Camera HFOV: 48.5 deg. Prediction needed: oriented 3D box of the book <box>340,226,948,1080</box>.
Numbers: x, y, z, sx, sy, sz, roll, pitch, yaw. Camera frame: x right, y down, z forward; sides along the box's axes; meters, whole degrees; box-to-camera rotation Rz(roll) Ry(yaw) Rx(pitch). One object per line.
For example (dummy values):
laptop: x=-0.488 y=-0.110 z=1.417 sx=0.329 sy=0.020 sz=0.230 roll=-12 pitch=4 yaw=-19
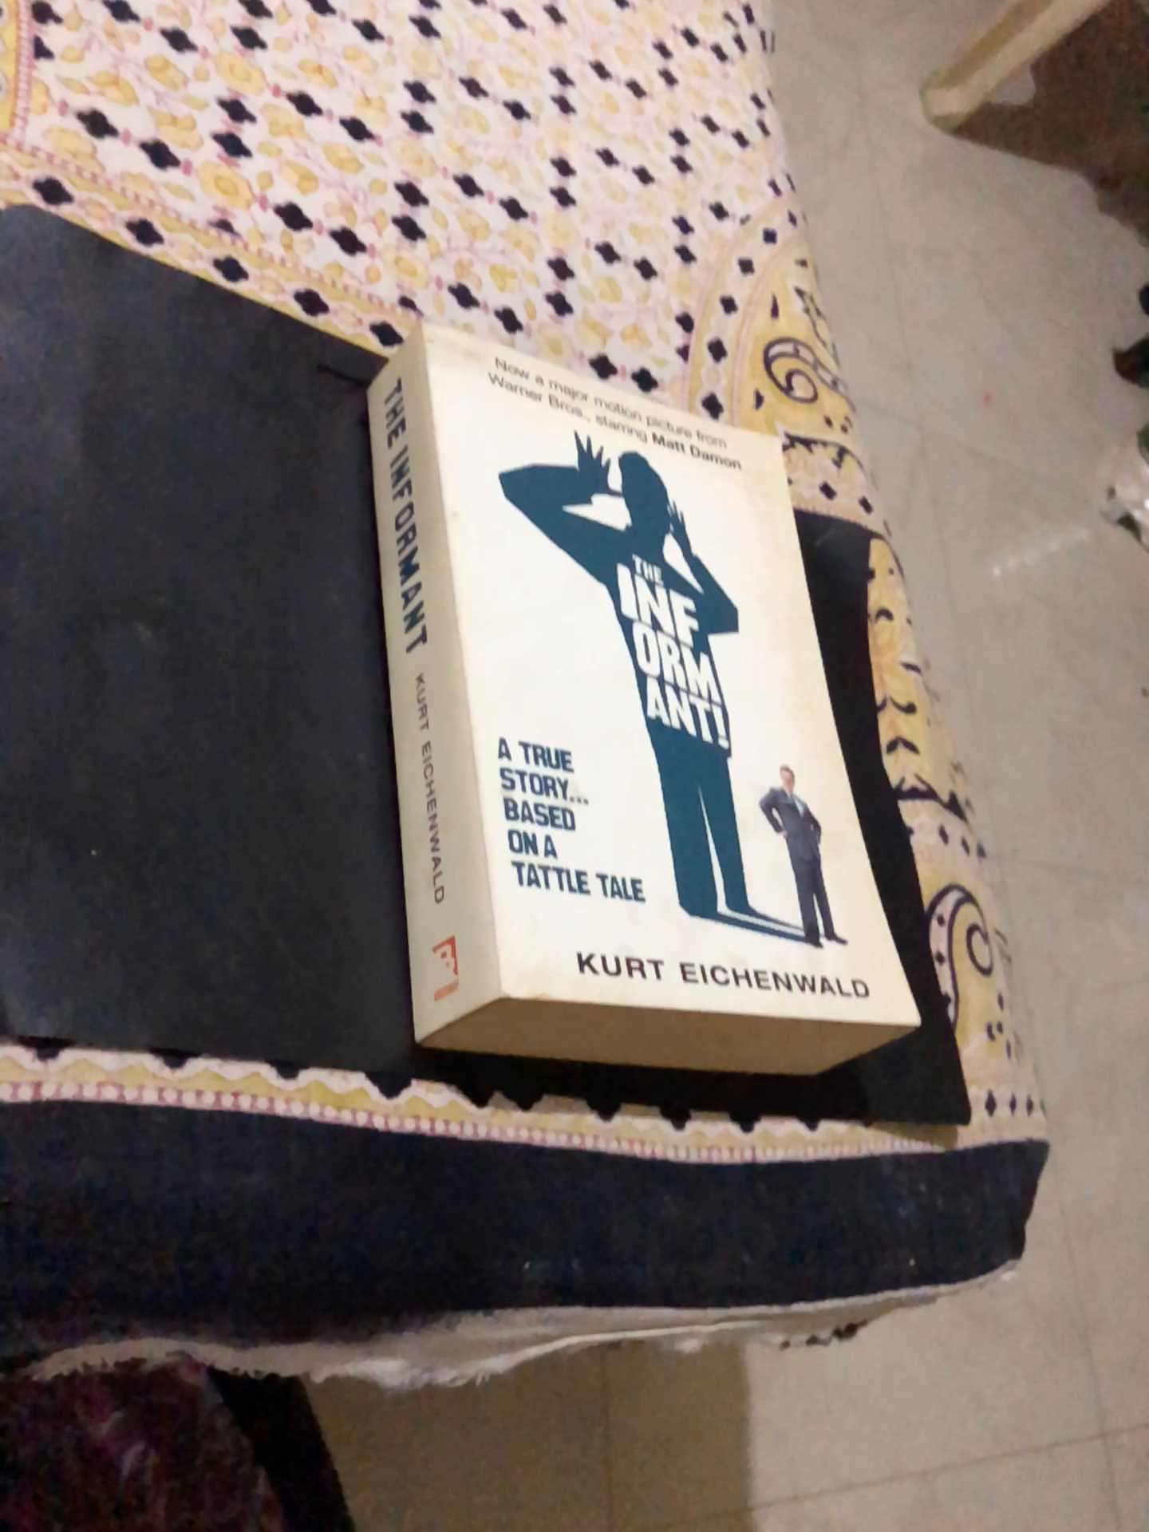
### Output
book: x=0.012 y=-0.032 z=0.369 sx=0.141 sy=0.050 sz=0.230 roll=11 pitch=56 yaw=-32
